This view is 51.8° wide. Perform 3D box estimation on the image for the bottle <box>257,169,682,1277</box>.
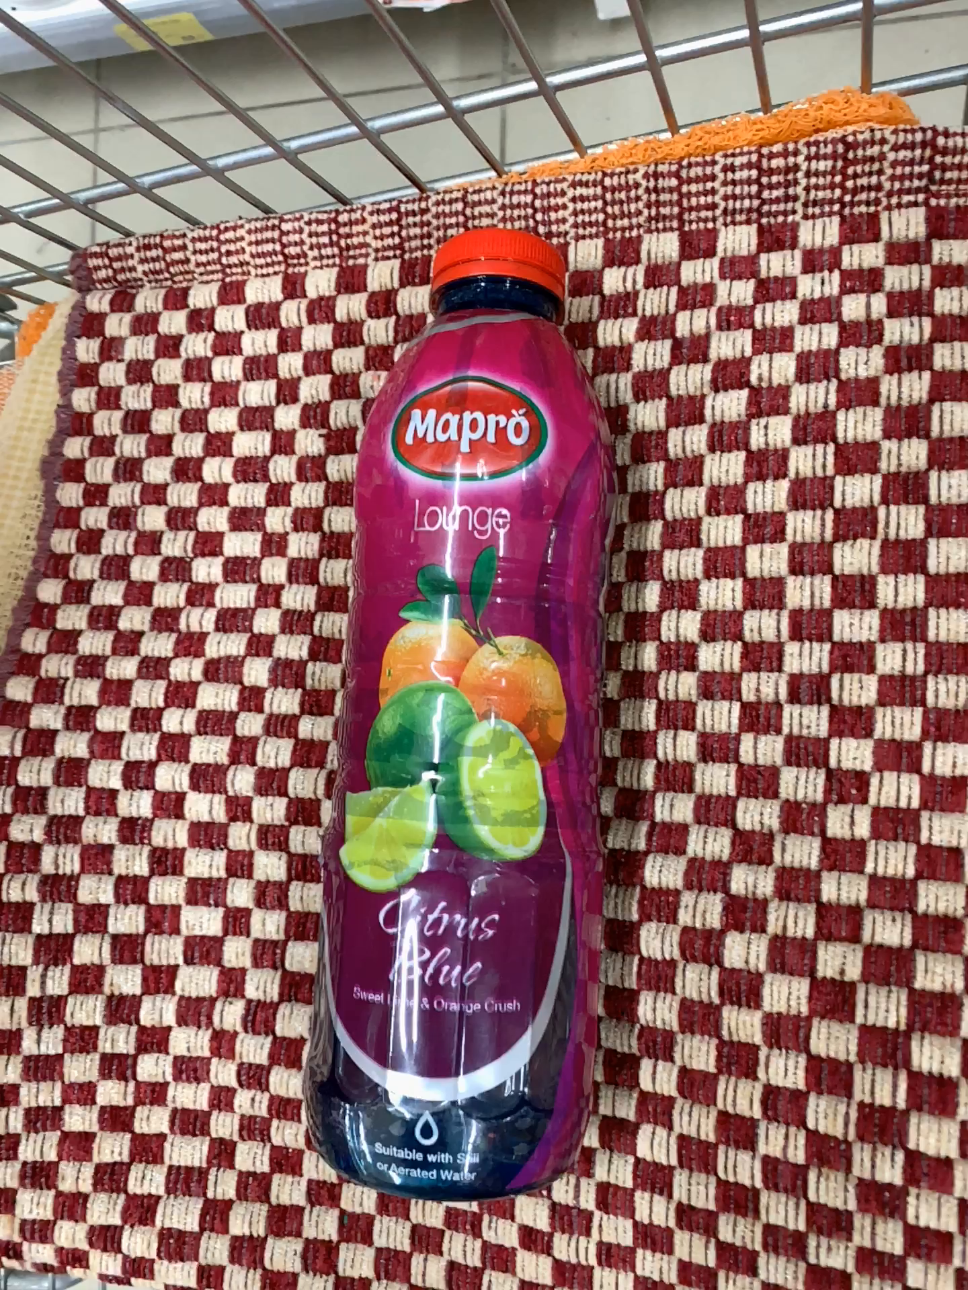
[{"bbox_3d":[0.000,0.016,0.266,0.090,0.070,0.250,2,89,8],"label":"bottle"}]
